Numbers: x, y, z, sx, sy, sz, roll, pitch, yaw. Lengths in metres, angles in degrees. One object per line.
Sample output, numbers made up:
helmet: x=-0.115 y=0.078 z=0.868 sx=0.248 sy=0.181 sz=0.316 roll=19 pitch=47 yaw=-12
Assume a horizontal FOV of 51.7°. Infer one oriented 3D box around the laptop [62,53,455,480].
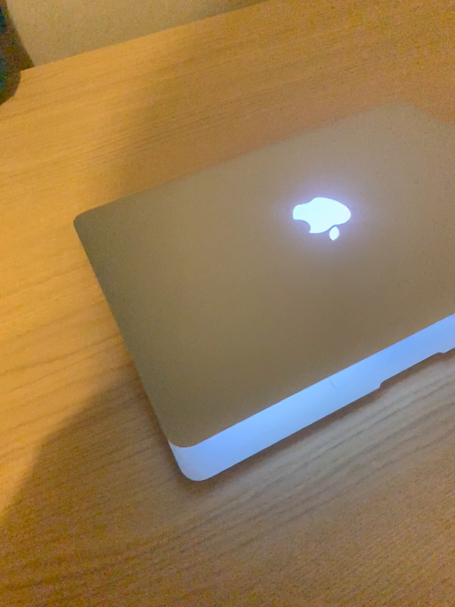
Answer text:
laptop: x=0.072 y=-0.057 z=0.339 sx=0.320 sy=0.048 sz=0.218 roll=-24 pitch=60 yaw=-12
